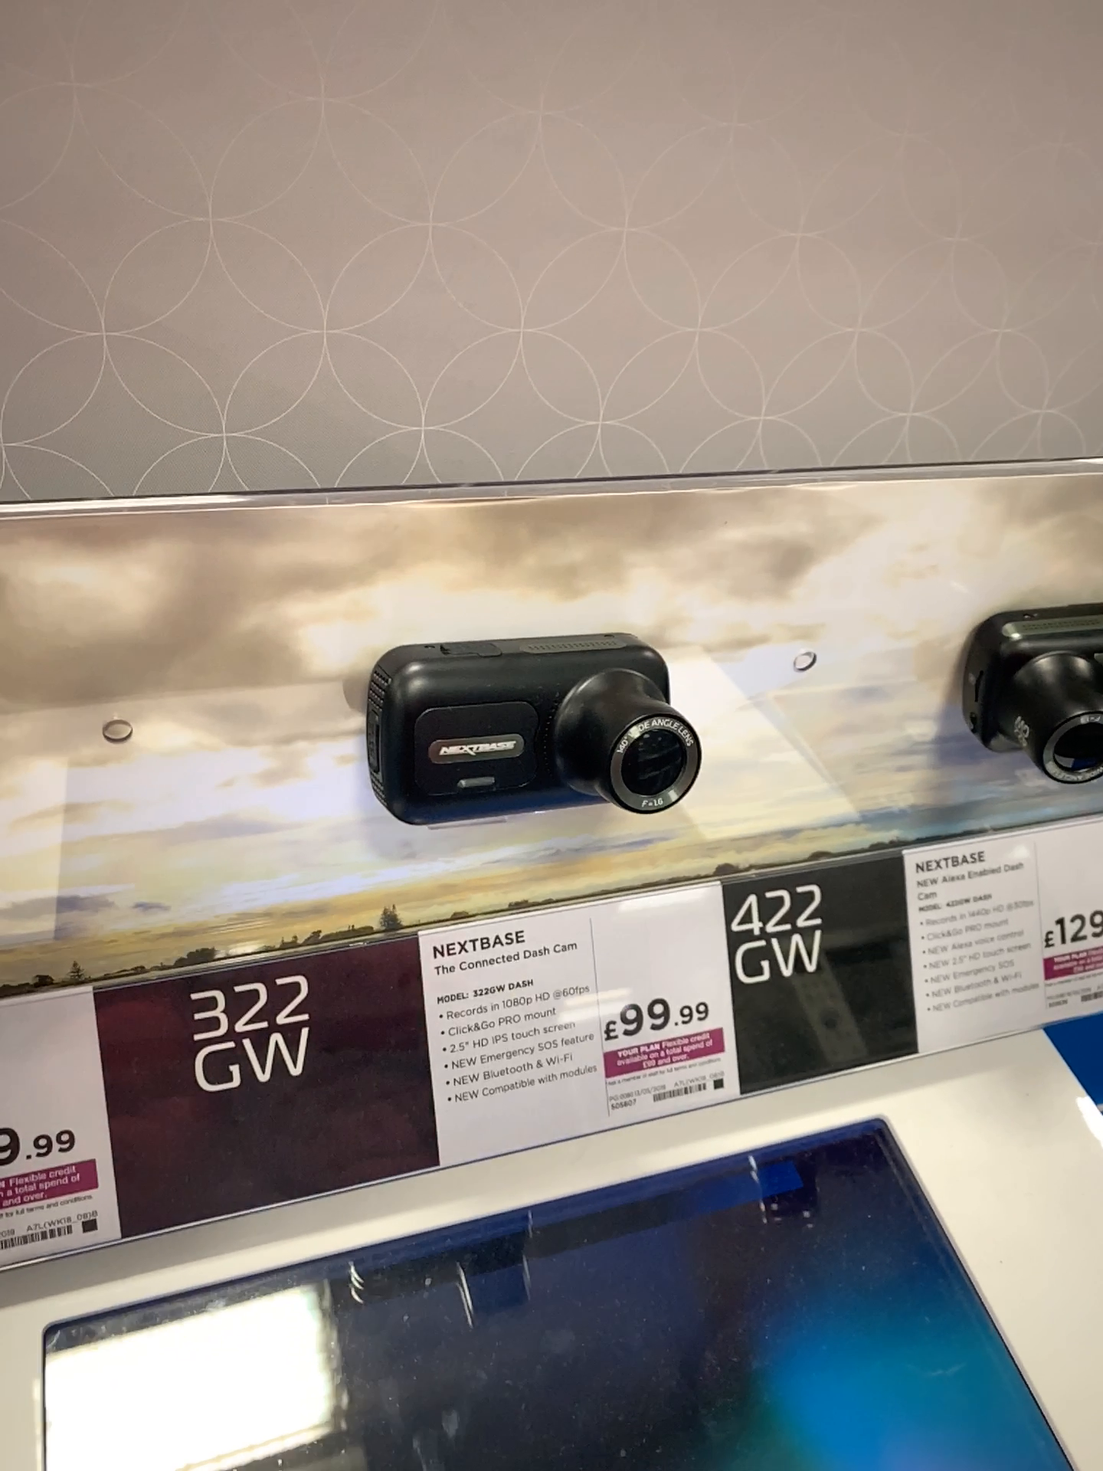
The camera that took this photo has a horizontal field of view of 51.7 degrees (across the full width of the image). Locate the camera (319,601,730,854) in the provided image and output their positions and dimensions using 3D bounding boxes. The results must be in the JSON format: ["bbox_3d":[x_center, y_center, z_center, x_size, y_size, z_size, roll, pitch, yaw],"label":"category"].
[{"bbox_3d":[-0.010,-0.006,0.297,0.090,0.040,0.070,-5,18,-16],"label":"camera"}]
